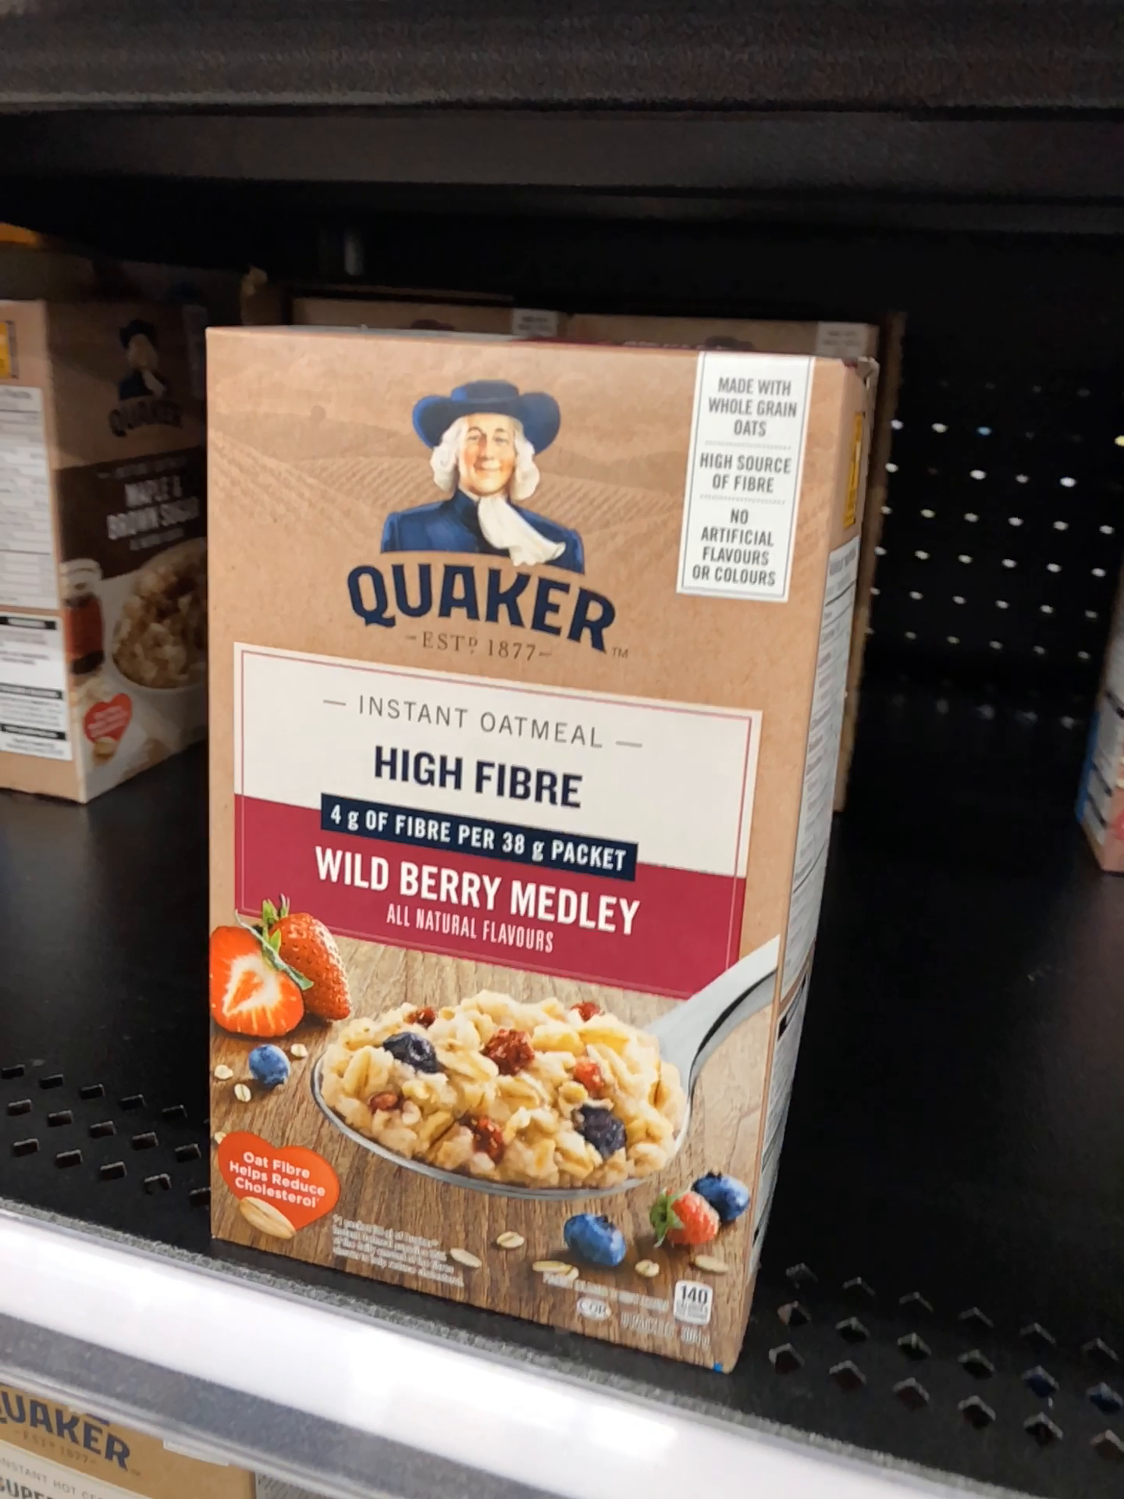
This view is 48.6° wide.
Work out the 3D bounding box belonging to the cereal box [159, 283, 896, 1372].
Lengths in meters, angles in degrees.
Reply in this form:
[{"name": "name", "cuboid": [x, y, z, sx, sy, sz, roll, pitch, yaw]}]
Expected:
[{"name": "cereal box", "cuboid": [-0.010, 0.011, 0.266, 0.130, 0.199, 0.060, 8, 16, 15]}]
